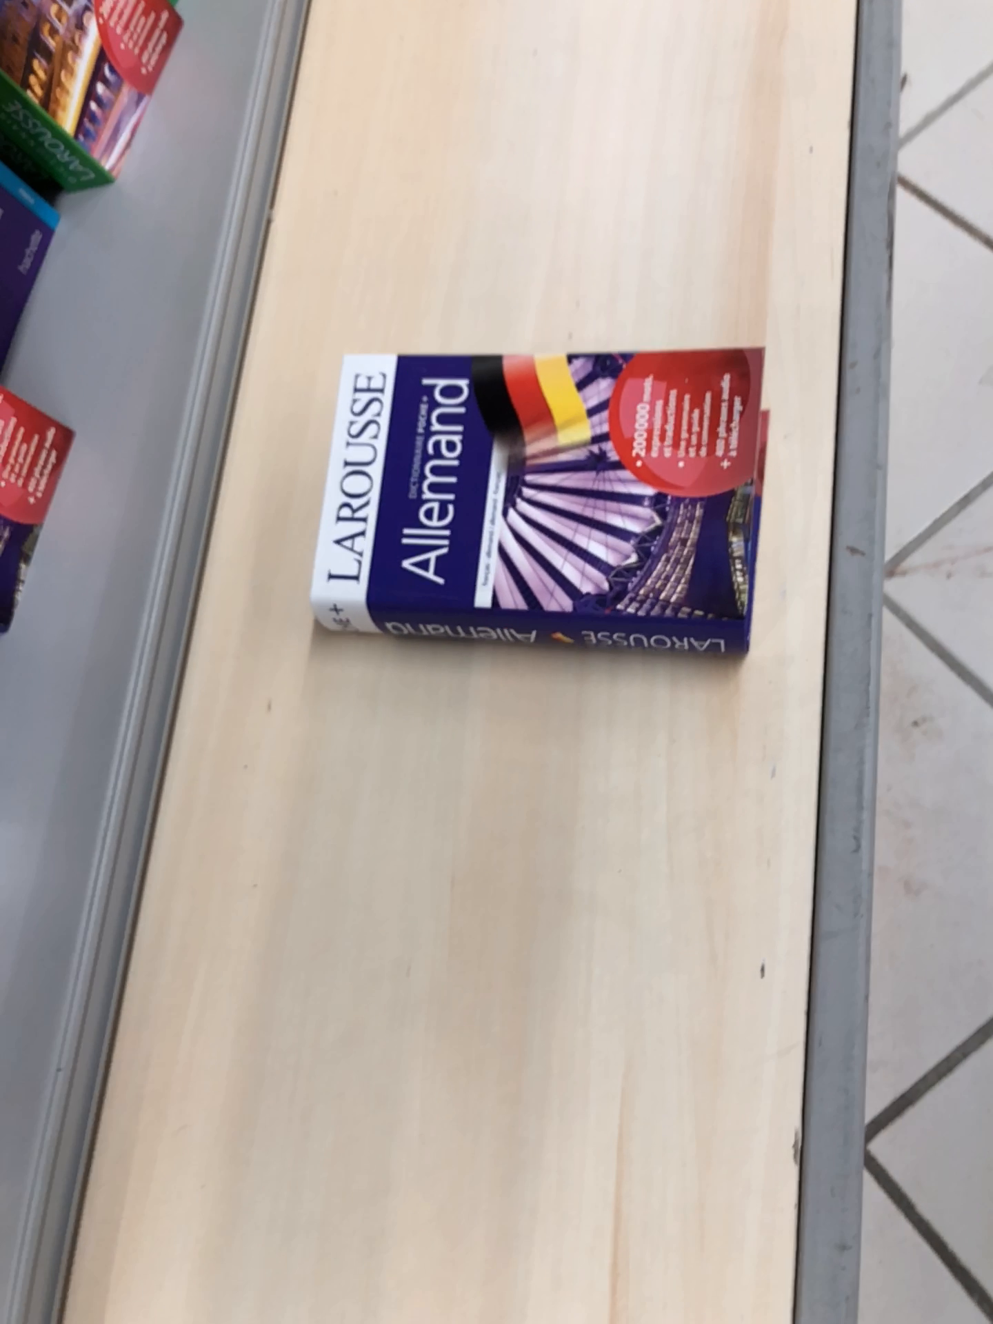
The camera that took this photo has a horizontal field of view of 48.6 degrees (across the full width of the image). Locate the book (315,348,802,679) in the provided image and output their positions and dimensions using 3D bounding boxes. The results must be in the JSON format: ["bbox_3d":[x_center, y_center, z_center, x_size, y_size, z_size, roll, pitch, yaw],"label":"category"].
[{"bbox_3d":[0.029,-0.064,0.457,0.181,0.050,0.120,4,73,15],"label":"book"}]
